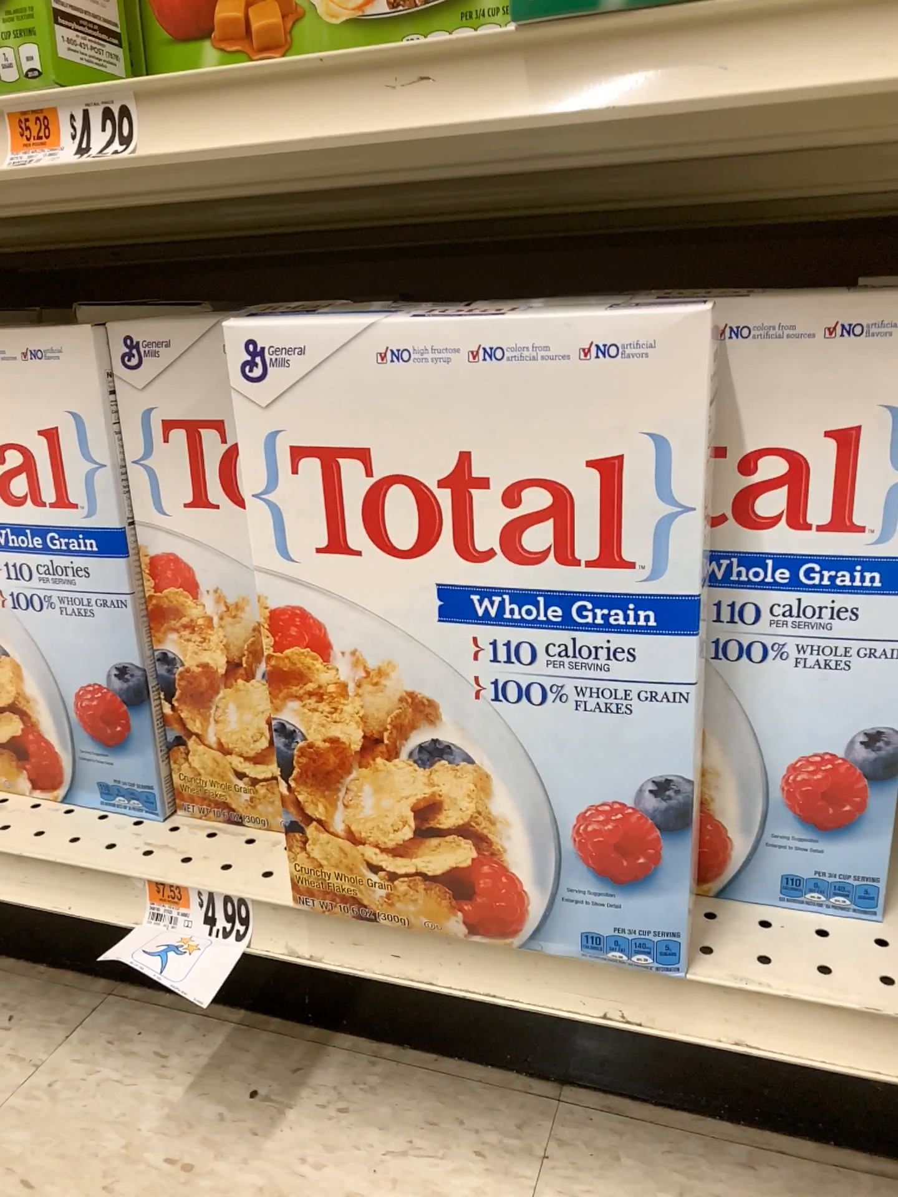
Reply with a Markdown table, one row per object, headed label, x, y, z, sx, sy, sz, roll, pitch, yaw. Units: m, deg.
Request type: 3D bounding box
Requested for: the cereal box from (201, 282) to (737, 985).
| label | x | y | z | sx | sy | sz | roll | pitch | yaw |
| --- | --- | --- | --- | --- | --- | --- | --- | --- | --- |
| cereal box | 0.012 | 0.016 | 0.398 | 0.200 | 0.279 | 0.050 | 4 | 20 | 19 |
